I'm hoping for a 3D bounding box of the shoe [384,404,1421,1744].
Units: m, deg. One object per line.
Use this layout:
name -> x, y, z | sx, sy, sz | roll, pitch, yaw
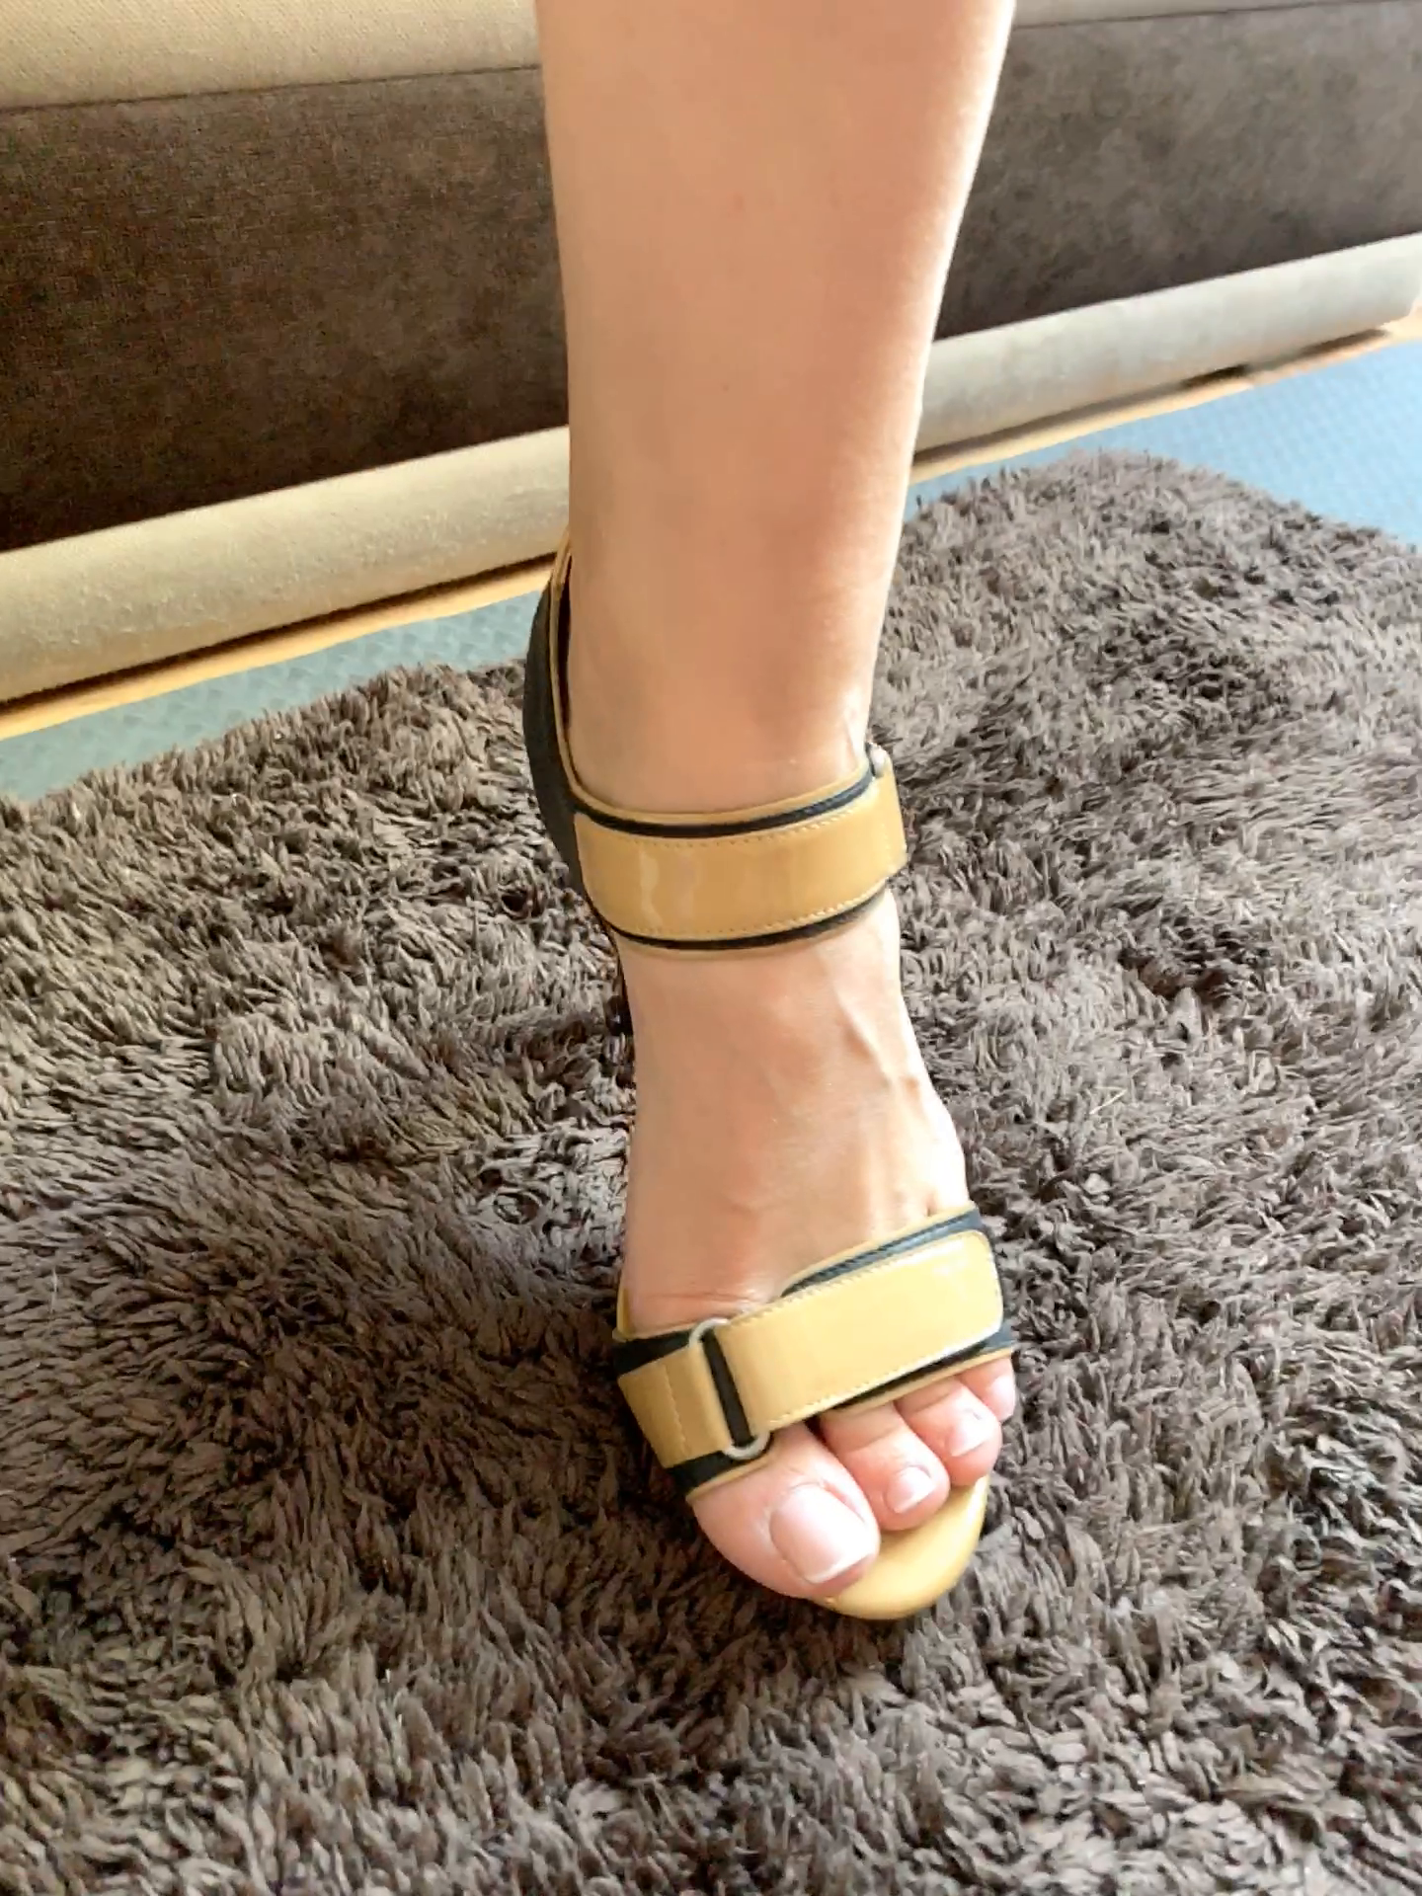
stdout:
shoe -> 0.011, 0.008, 0.287 | 0.090, 0.149, 0.201 | -13, 43, -19
